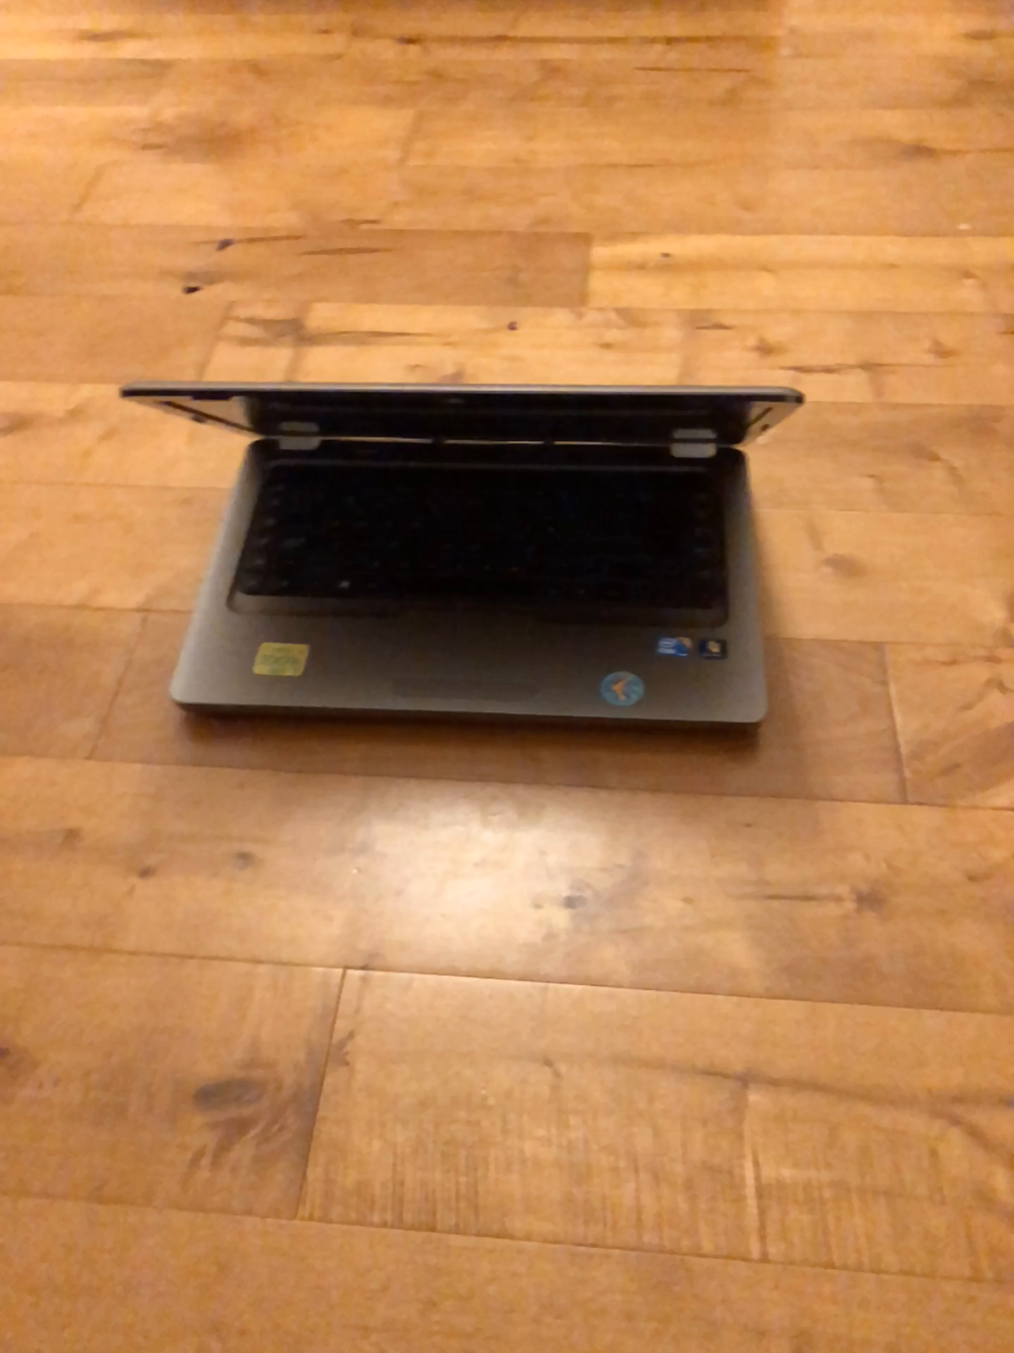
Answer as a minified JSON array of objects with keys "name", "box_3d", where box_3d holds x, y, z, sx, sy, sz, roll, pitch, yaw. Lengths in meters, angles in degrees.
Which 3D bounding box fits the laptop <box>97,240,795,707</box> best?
[{"name":"laptop","box_3d":[-0.021,-0.127,0.677,0.346,0.164,0.224,2,53,4]}]
